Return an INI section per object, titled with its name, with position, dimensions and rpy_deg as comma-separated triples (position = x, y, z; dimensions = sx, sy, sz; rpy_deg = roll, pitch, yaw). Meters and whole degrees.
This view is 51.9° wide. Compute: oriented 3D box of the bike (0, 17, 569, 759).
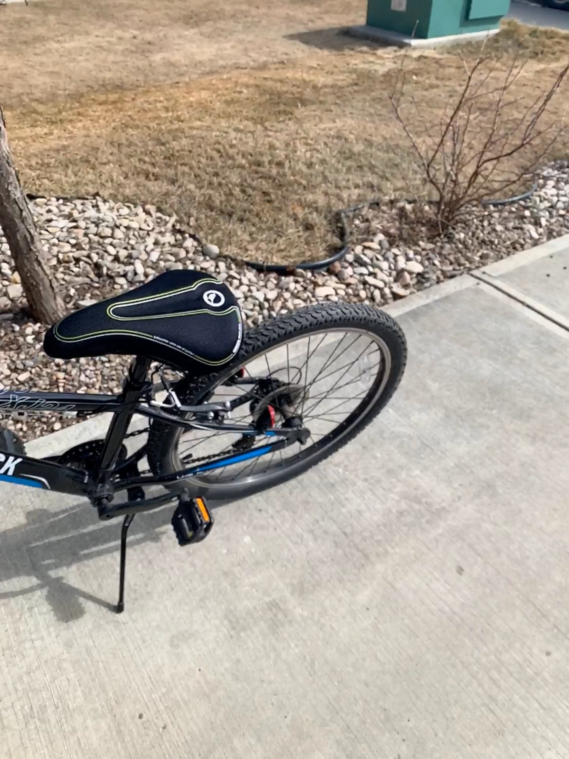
[bike]
position = -0.351, 0.190, 0.844
dimensions = 1.392, 0.885, 0.516
rpy_deg = -26, 47, -21
